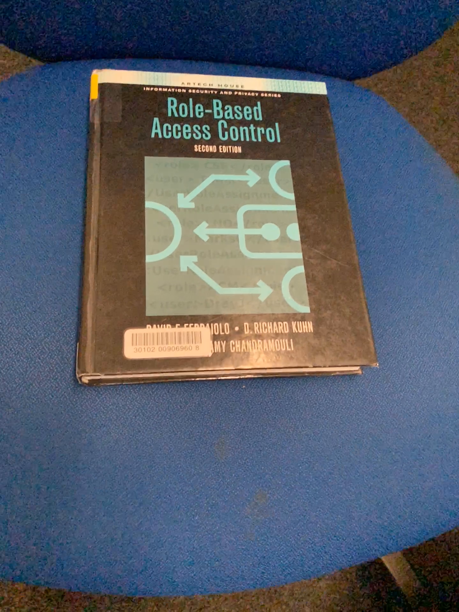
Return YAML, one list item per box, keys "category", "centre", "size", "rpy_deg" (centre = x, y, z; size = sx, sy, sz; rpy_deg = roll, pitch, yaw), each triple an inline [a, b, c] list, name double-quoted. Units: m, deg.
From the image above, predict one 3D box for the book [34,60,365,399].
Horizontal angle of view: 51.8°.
- category: "book"
  centre: [-0.022, -0.063, 0.328]
  size: [0.189, 0.030, 0.241]
  rpy_deg: [-1, 68, -9]
